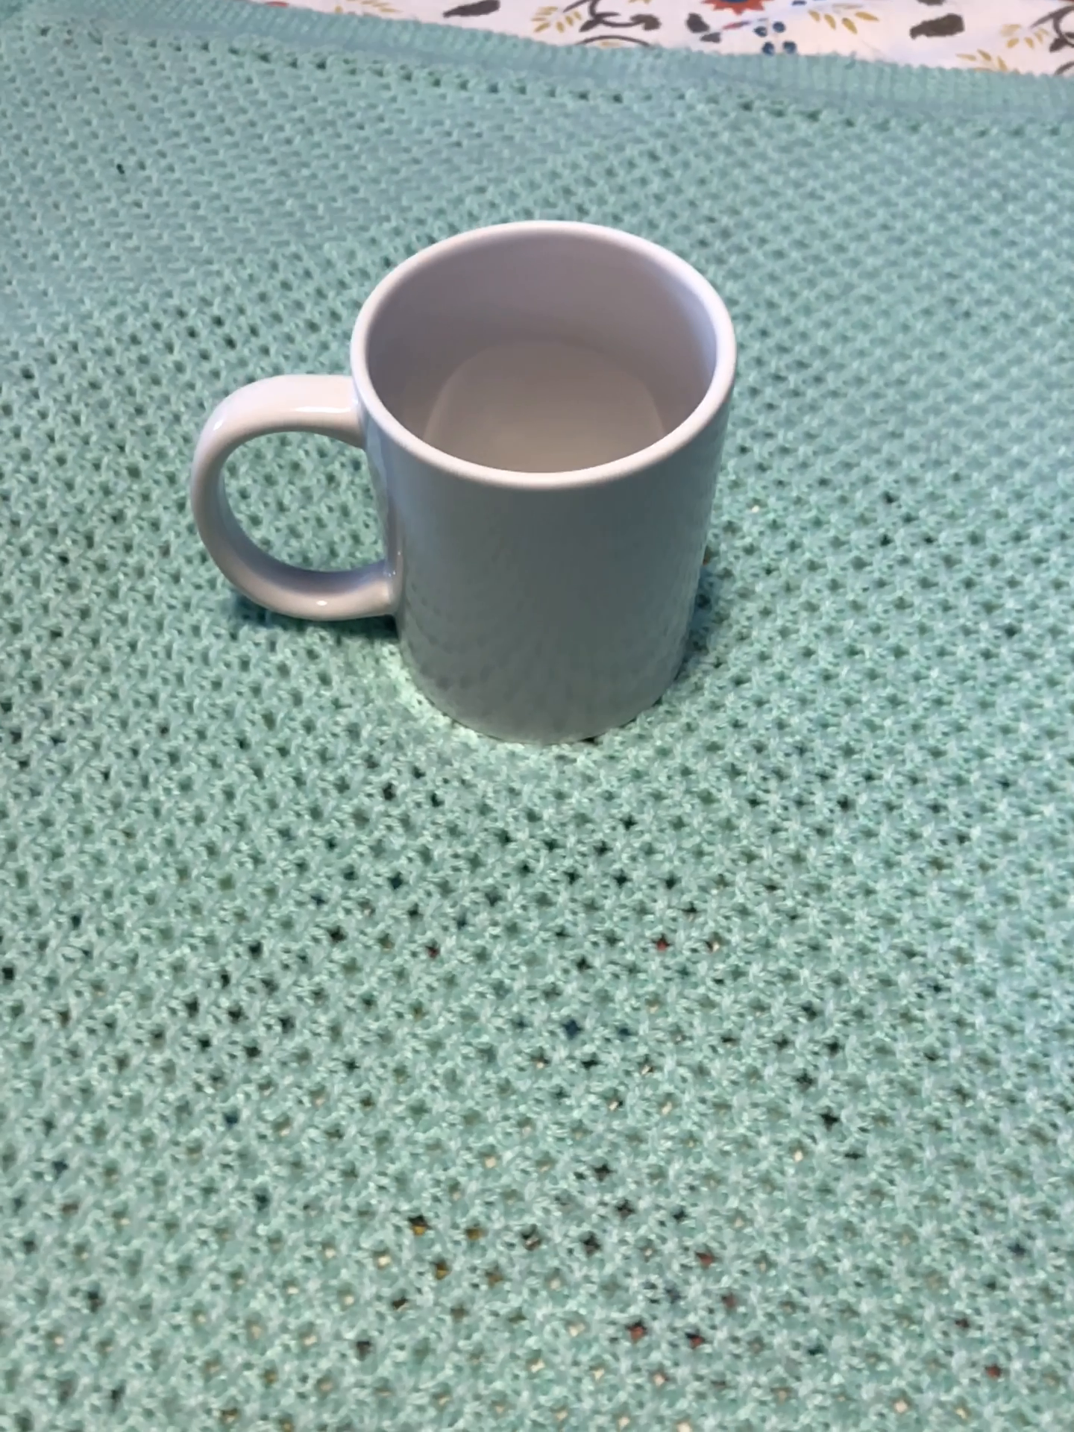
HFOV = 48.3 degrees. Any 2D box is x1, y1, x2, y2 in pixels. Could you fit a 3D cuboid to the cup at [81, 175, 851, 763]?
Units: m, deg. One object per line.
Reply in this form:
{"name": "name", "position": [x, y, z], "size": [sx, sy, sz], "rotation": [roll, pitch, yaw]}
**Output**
{"name": "cup", "position": [-0.016, -0.057, 0.279], "size": [0.140, 0.080, 0.101], "rotation": [-3, 57, -3]}
